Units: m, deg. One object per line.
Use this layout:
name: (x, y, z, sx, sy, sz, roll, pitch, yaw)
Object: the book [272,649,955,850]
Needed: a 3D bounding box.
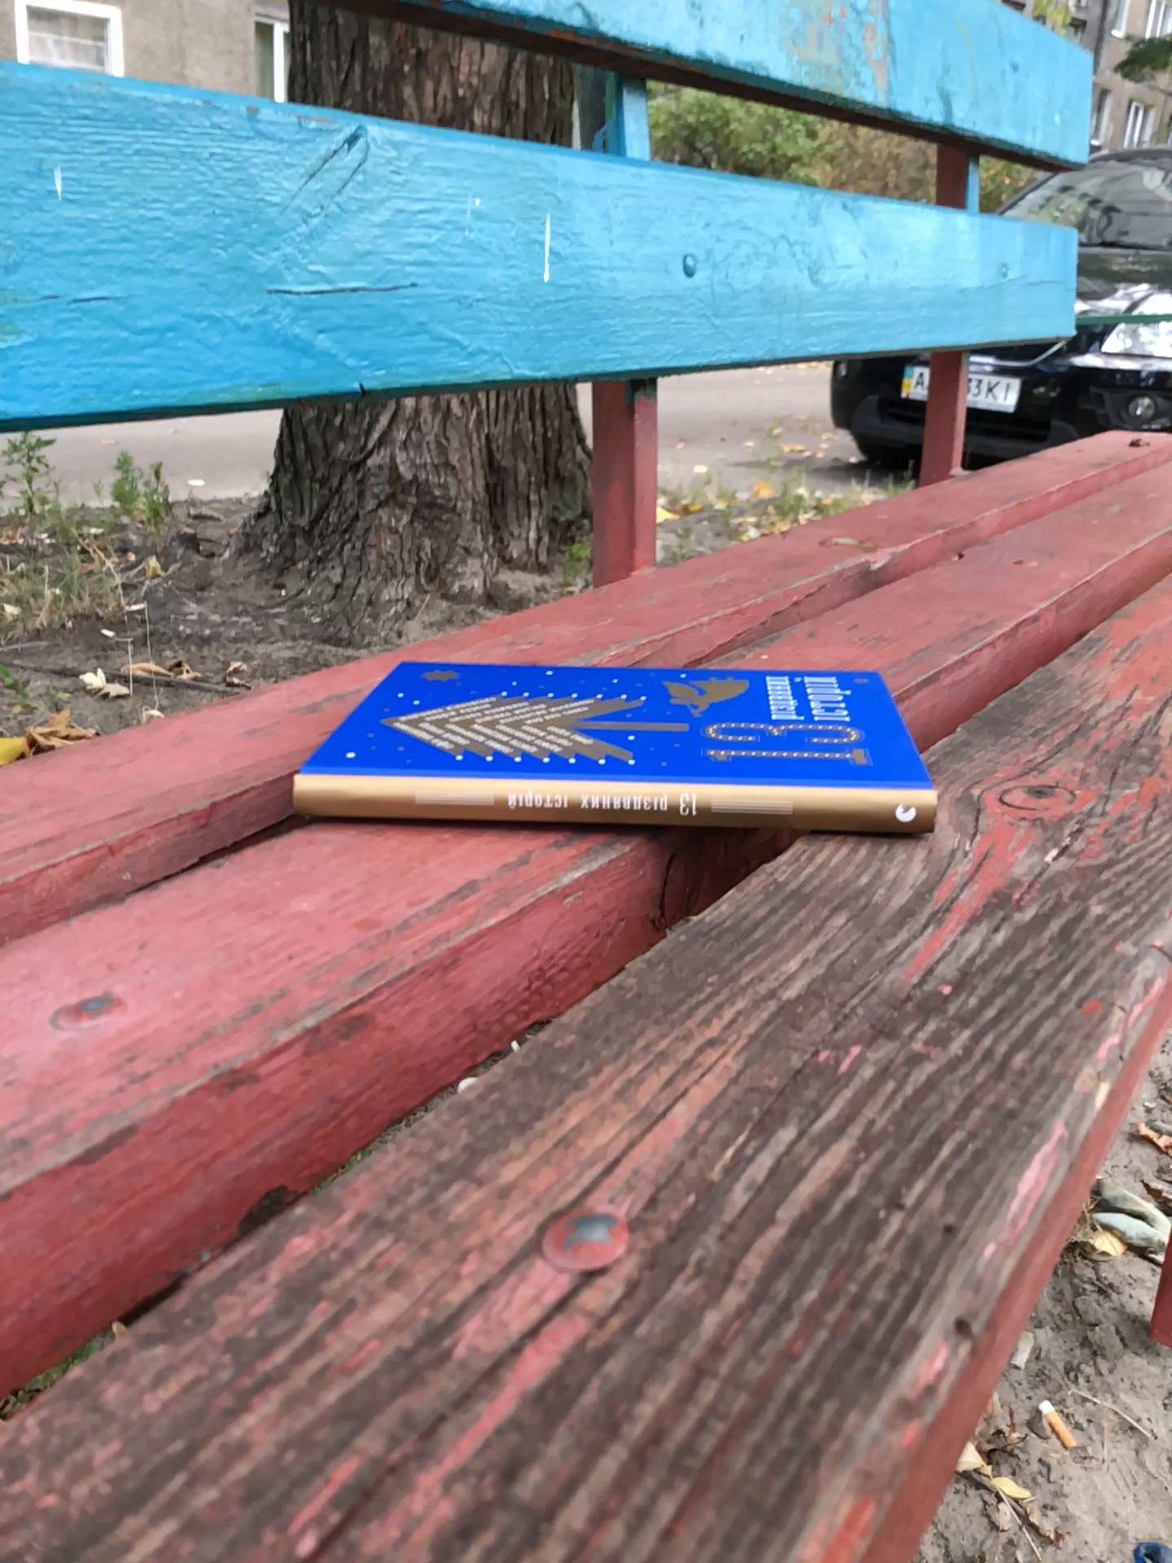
book: (0.013, -0.018, 0.474, 0.212, 0.020, 0.156, 2, 20, 4)
